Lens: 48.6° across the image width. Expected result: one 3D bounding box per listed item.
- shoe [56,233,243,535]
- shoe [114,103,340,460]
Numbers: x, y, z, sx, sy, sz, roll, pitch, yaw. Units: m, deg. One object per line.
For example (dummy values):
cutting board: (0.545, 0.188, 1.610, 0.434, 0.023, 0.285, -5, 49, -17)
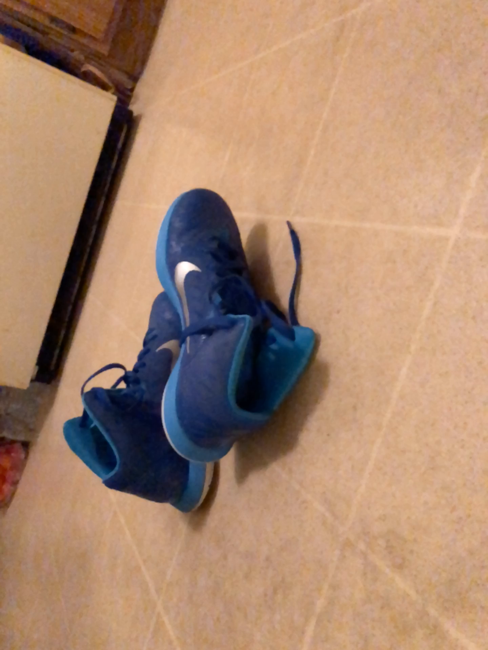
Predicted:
shoe: (-0.112, 0.061, 0.627, 0.120, 0.144, 0.311, -49, 37, 38)
shoe: (-0.021, -0.035, 0.522, 0.160, 0.119, 0.282, -33, 48, 44)
